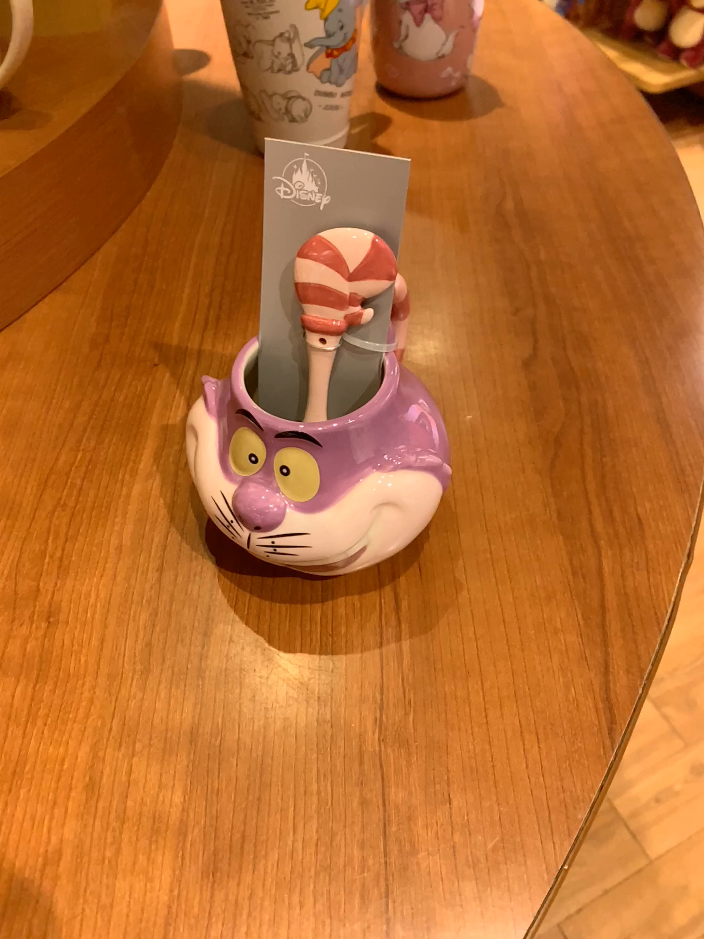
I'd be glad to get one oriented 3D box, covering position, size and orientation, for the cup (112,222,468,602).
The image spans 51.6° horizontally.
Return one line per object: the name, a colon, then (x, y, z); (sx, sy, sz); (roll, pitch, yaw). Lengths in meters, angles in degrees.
cup: (-0.013, -0.031, 0.314); (0.114, 0.077, 0.143); (5, 50, 6)
